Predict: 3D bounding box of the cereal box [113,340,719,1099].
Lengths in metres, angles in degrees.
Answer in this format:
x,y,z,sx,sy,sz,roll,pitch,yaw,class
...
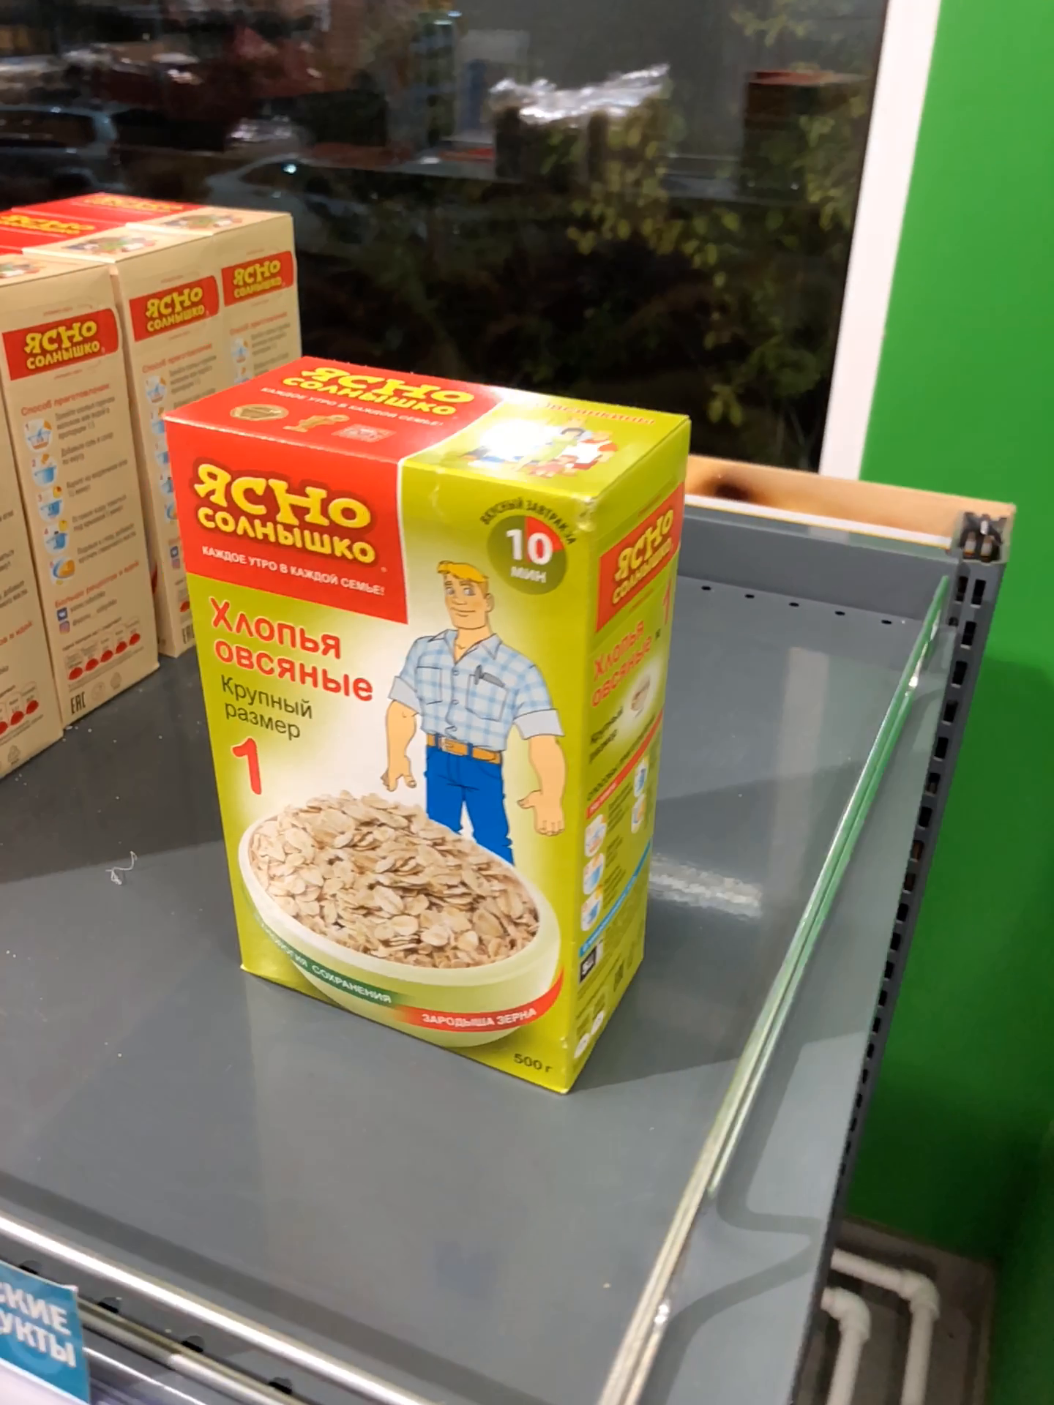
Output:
x,y,z,sx,sy,sz,roll,pitch,yaw,class
-0.028,0.002,0.340,0.130,0.179,0.080,14,33,21,cereal box
